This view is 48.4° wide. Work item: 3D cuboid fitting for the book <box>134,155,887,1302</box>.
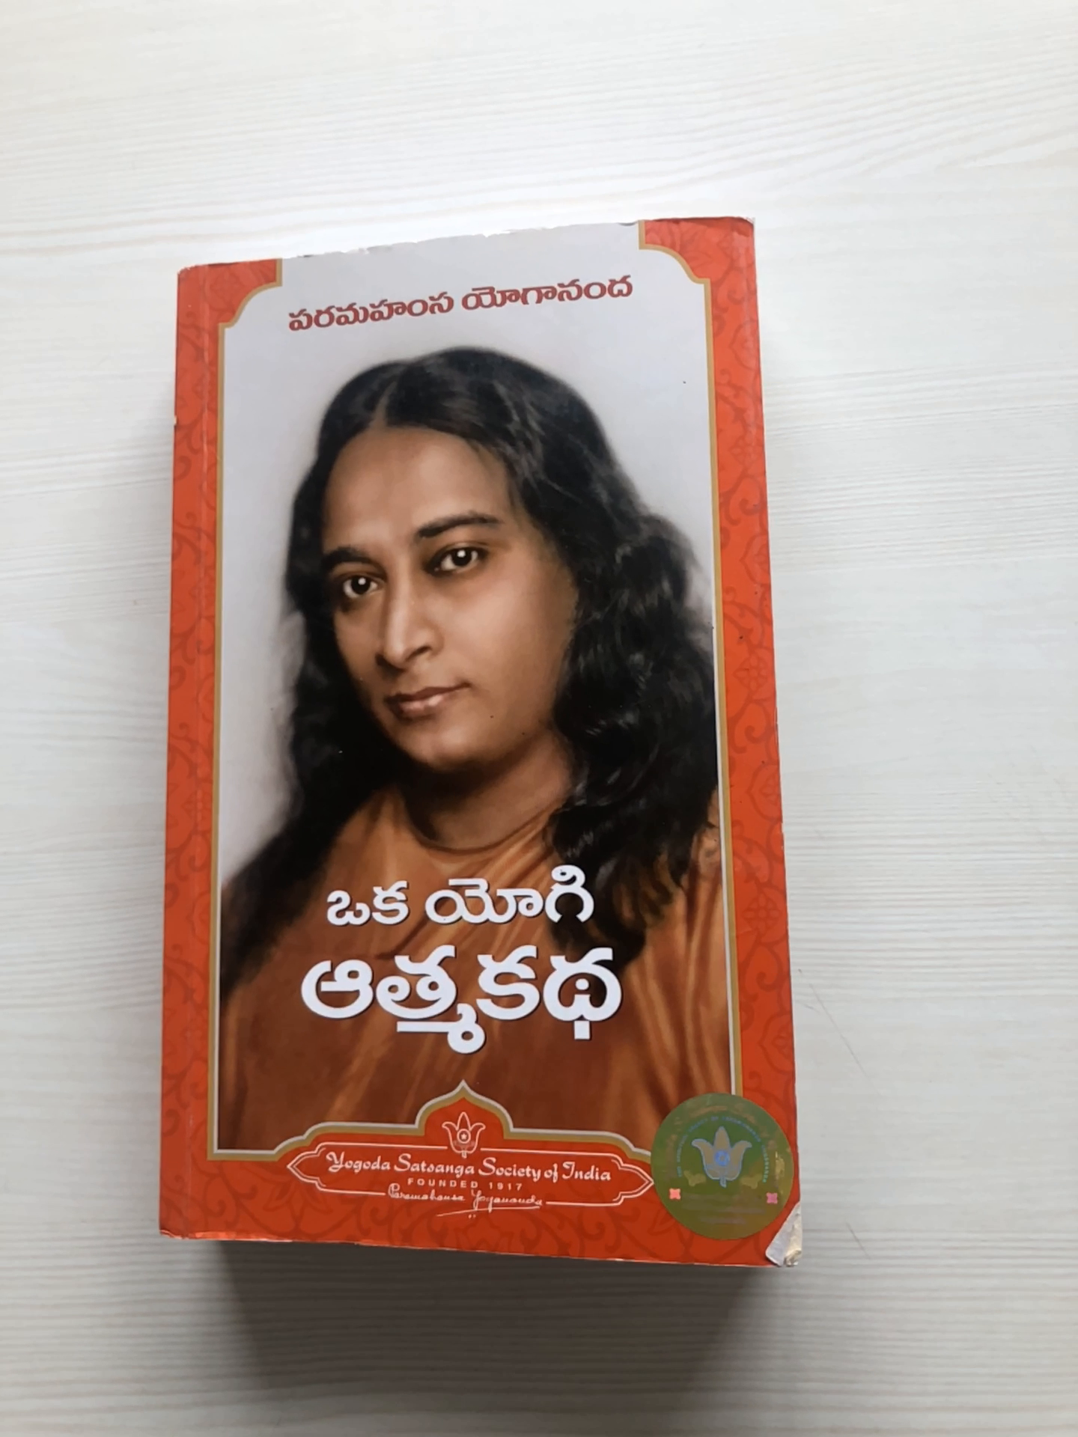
[{"bbox_3d":[-0.006,-0.002,0.272,0.150,0.040,0.233,-1,82,8],"label":"book"}]
